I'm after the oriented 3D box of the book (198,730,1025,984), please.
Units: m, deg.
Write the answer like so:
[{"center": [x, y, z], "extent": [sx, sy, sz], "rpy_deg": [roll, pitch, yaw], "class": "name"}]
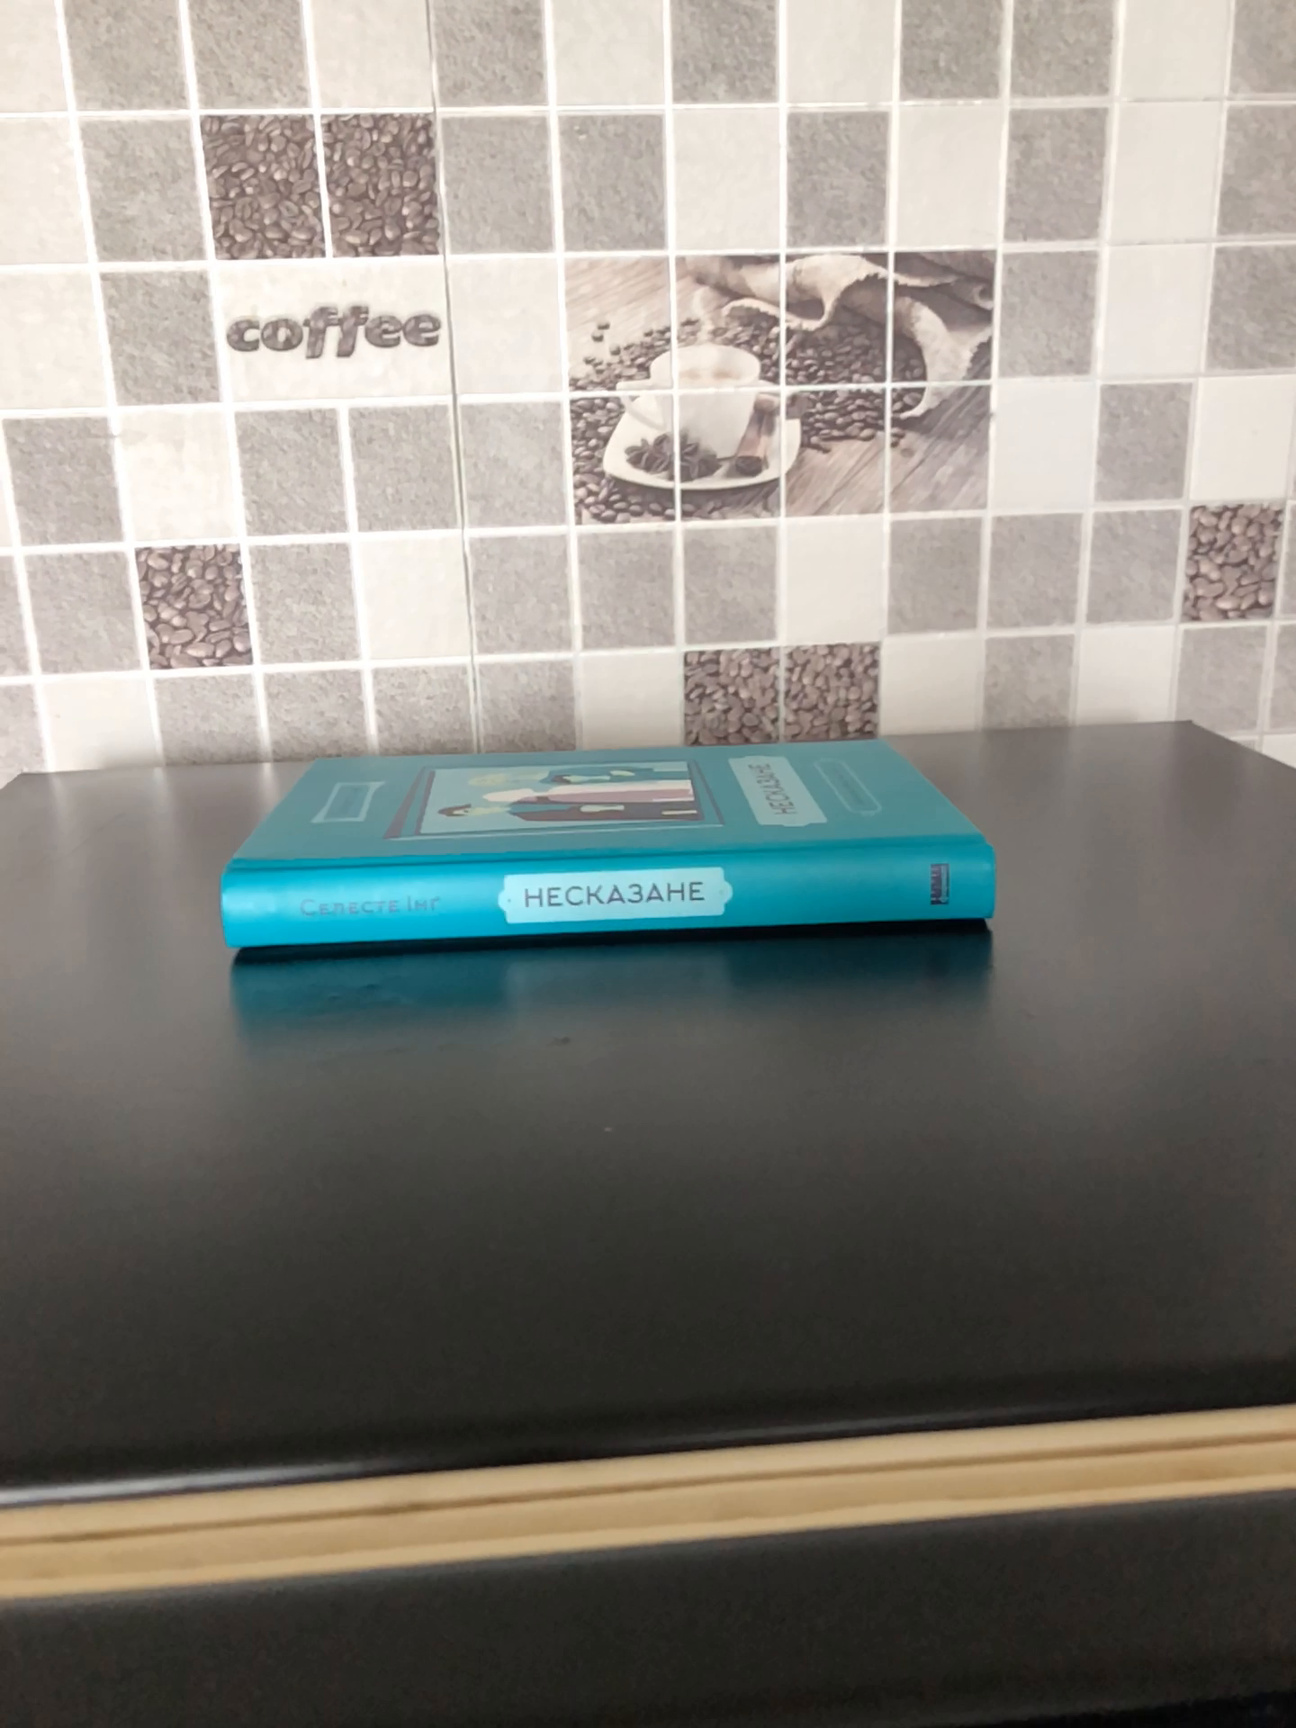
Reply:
[{"center": [-0.012, -0.009, 0.455], "extent": [0.220, 0.030, 0.152], "rpy_deg": [-2, 17, -3], "class": "book"}]
